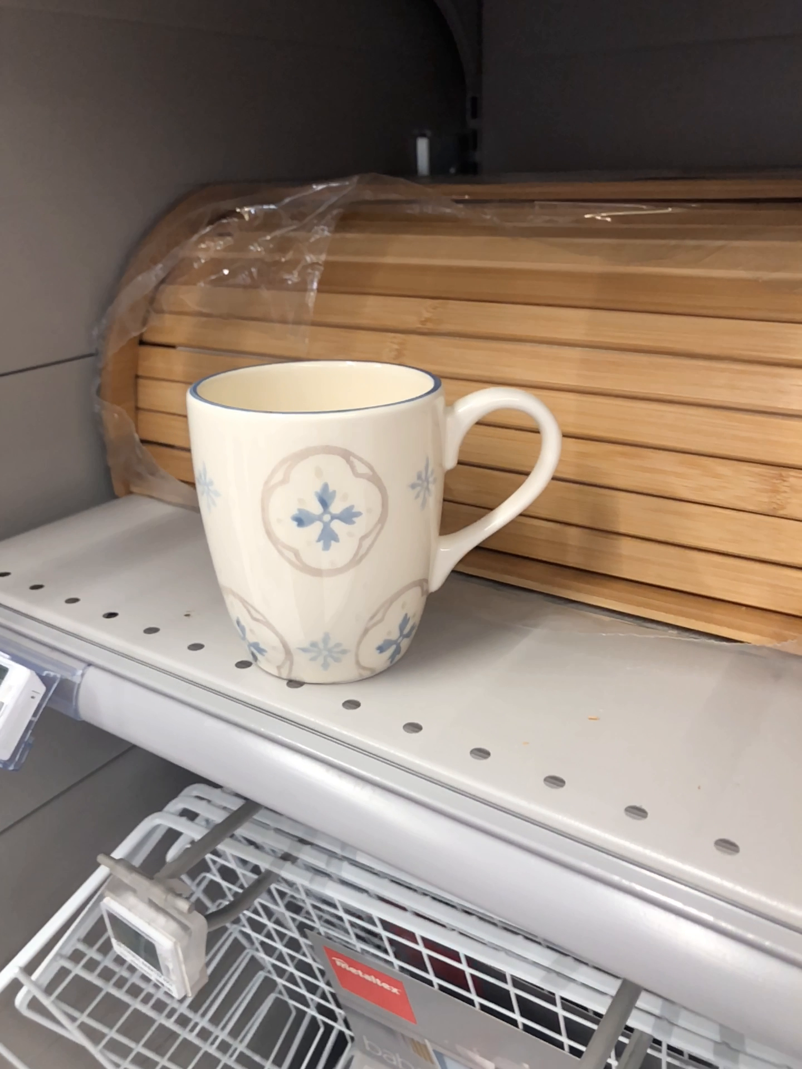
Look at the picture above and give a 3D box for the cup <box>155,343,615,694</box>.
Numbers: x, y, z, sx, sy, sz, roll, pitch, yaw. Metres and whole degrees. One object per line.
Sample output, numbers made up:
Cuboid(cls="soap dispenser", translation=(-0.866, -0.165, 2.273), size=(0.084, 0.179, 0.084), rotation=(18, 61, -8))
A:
Cuboid(cls="cup", translation=(-0.006, -0.011, 0.312), size=(0.133, 0.089, 0.084), rotation=(-4, 23, -6))
